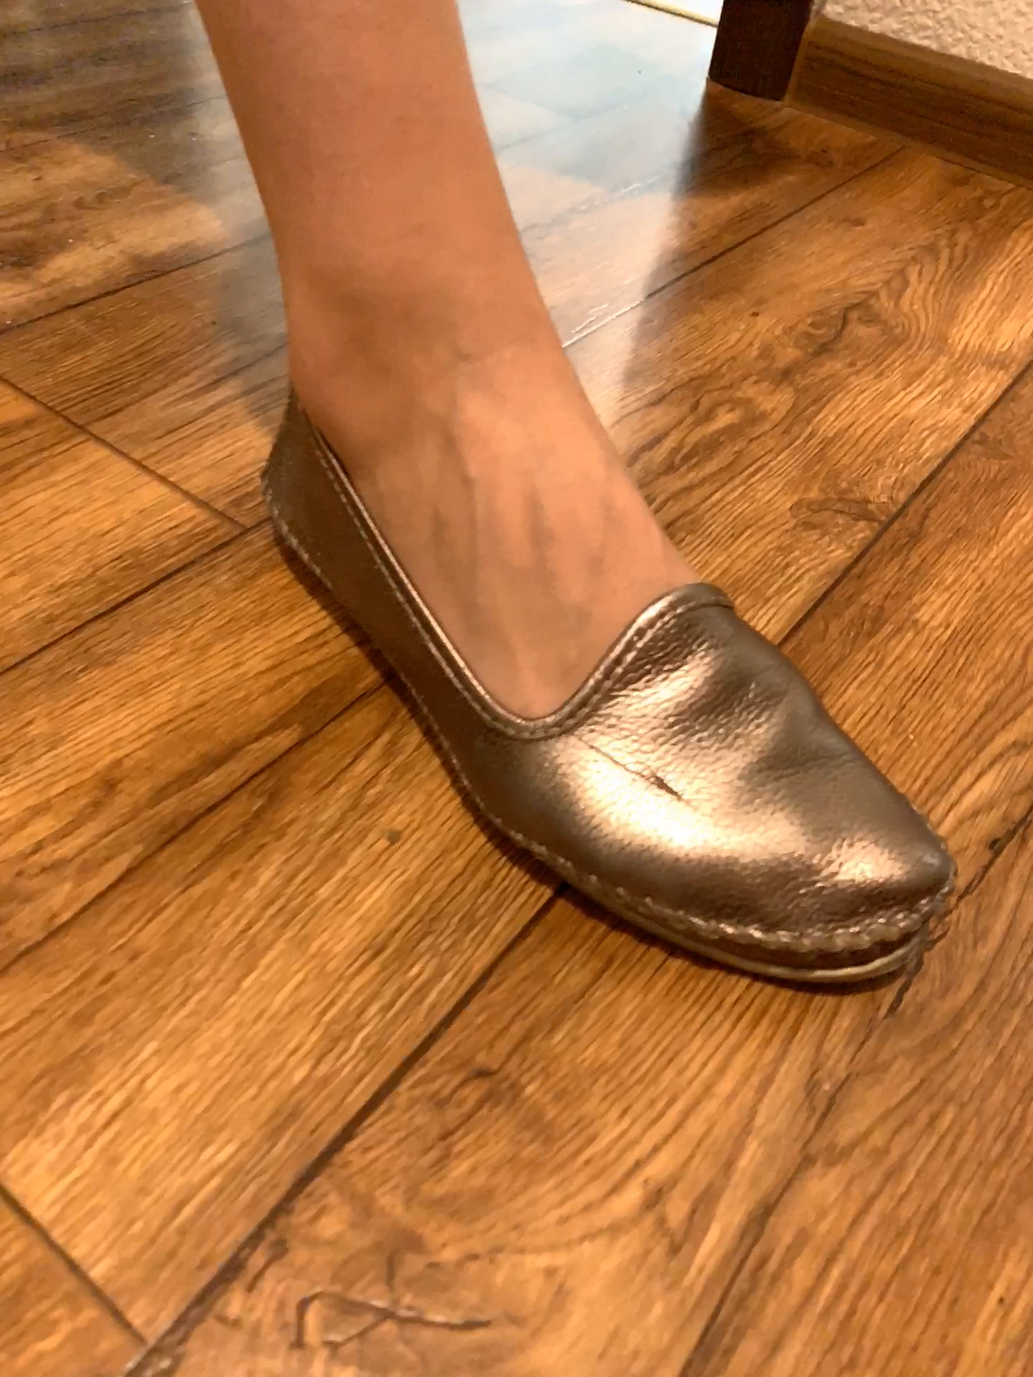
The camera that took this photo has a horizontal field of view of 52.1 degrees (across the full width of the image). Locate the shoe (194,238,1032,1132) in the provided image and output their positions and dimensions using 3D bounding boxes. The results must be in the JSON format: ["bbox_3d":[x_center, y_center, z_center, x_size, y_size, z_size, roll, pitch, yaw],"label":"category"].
[{"bbox_3d":[0.018,-0.018,0.282,0.095,0.070,0.231,-30,65,-30],"label":"shoe"}]
